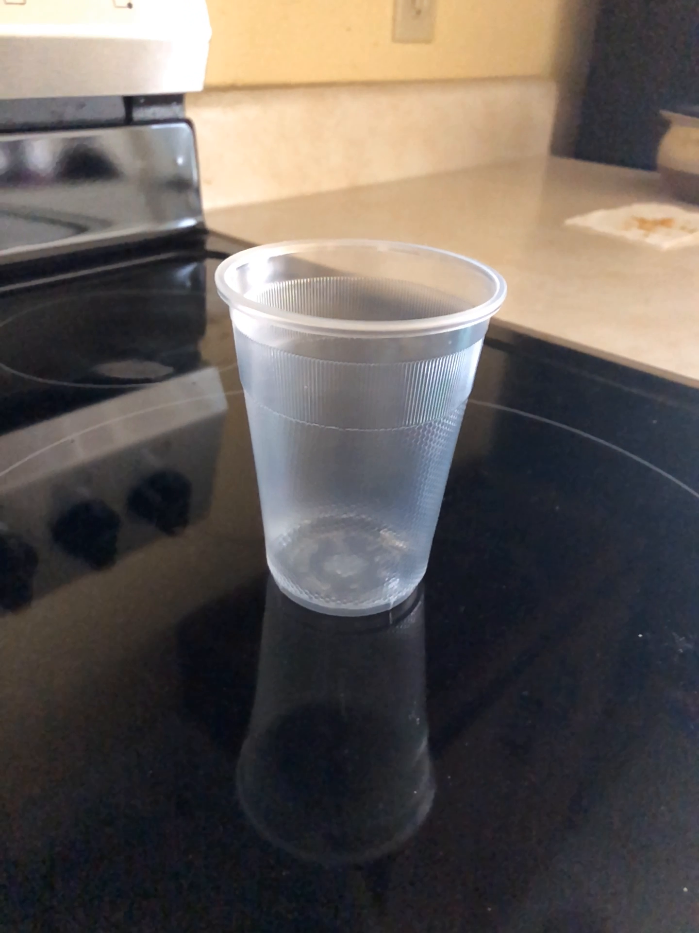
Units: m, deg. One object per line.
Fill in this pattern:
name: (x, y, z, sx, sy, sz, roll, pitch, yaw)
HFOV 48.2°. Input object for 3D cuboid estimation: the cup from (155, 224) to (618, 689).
cup: (0.007, -0.012, 0.210, 0.079, 0.081, 0.081, 1, 29, -1)
